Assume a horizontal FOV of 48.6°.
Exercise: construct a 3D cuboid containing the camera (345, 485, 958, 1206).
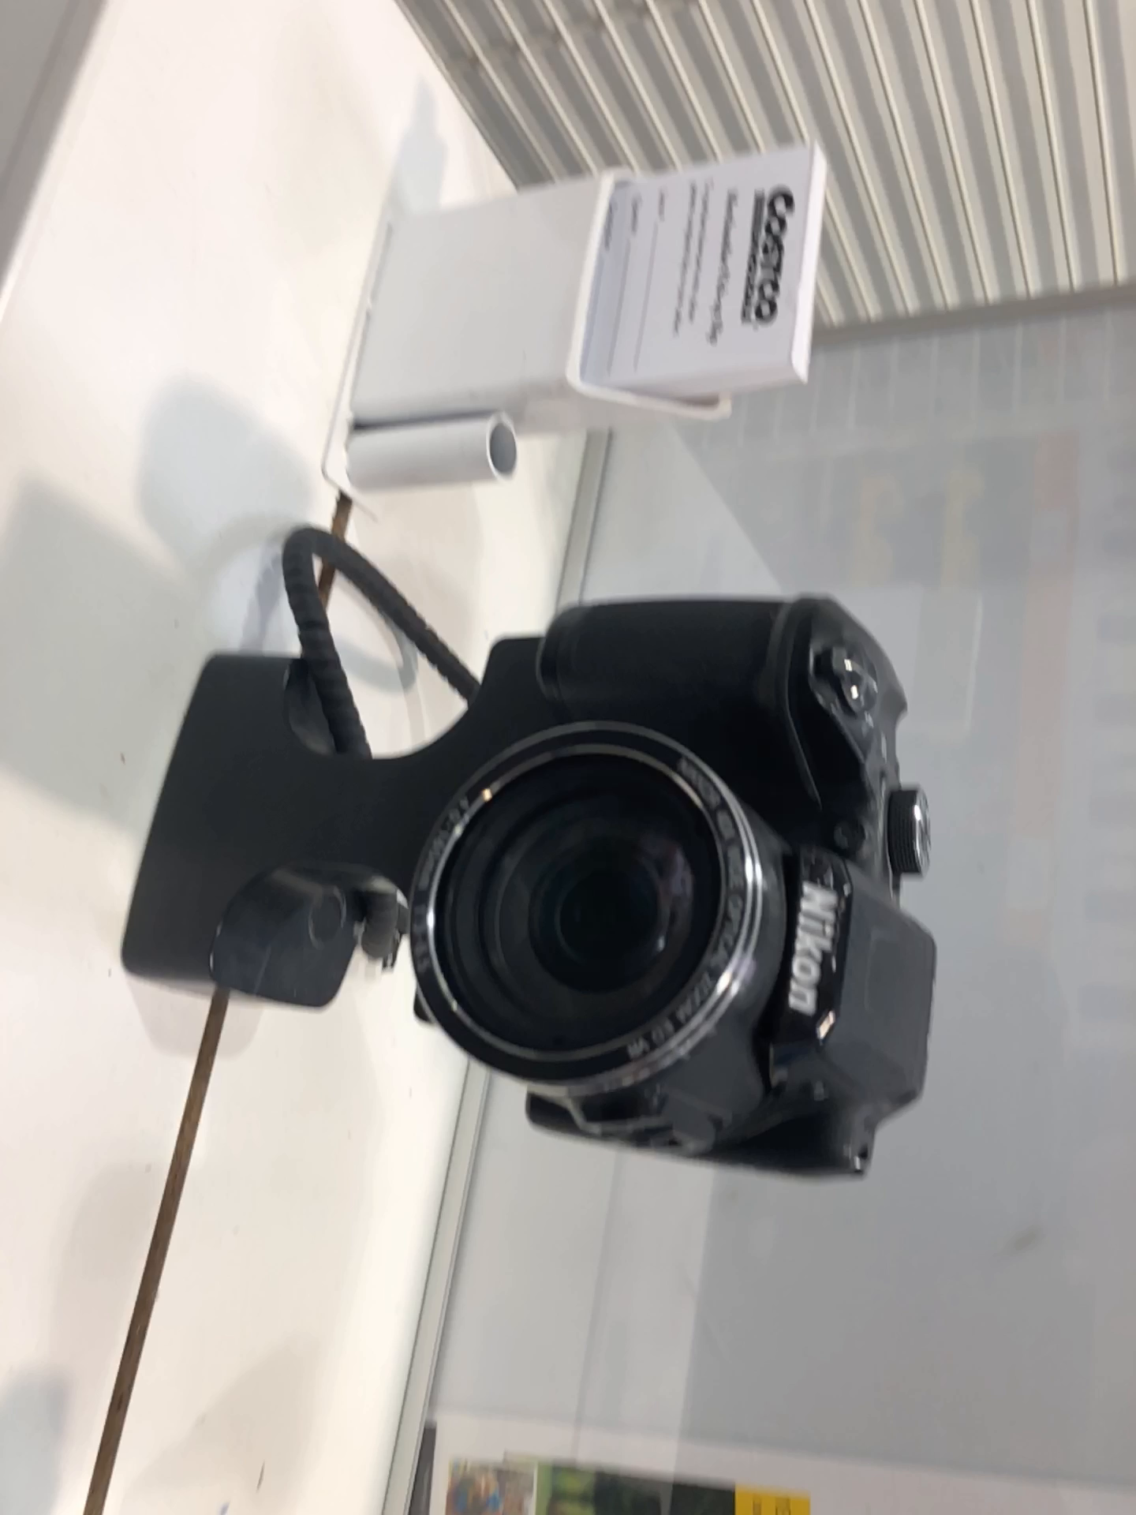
[{"bbox_3d":[0.027,0.024,0.257,0.101,0.079,0.116,36,59,-59],"label":"camera"}]
